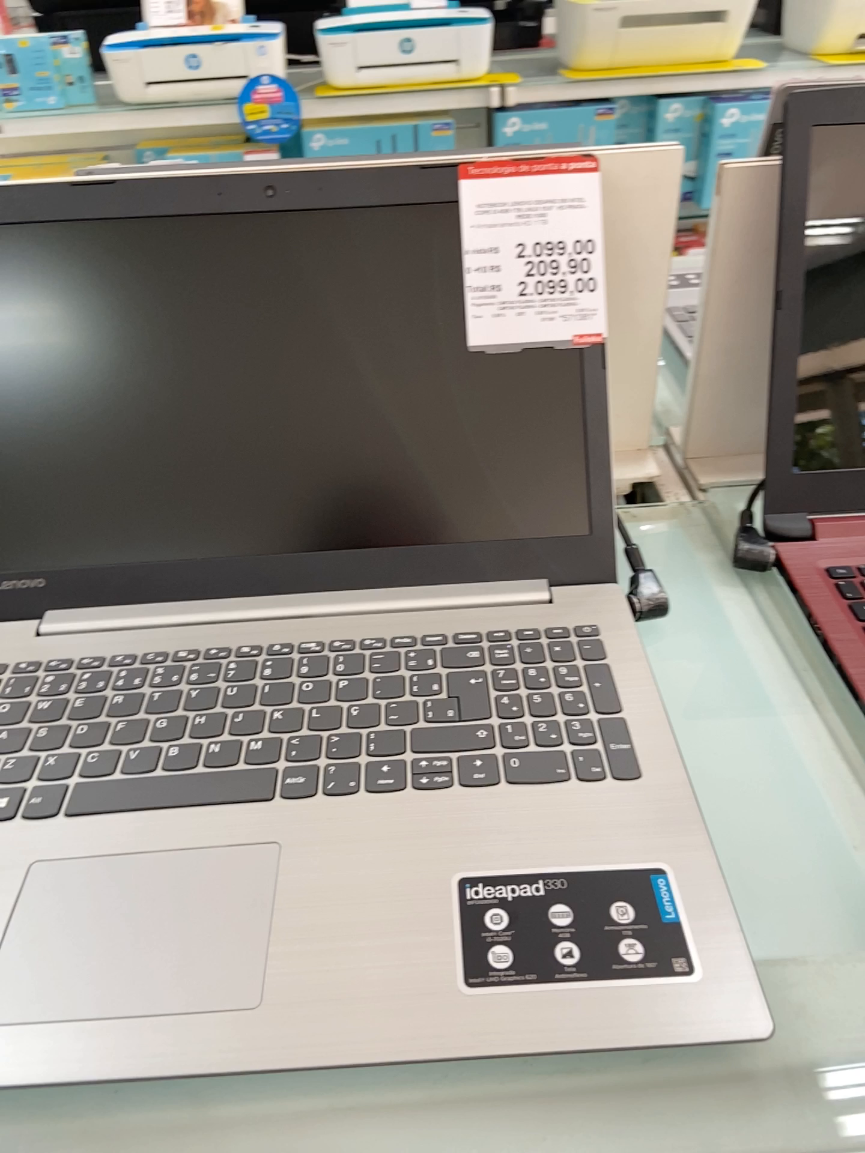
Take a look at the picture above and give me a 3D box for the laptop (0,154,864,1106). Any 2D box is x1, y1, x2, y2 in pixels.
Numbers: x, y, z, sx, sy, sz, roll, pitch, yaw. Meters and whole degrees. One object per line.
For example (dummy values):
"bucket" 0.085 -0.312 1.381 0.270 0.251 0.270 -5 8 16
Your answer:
"laptop" -0.081 -0.029 0.400 0.370 0.194 0.391 -4 37 0
